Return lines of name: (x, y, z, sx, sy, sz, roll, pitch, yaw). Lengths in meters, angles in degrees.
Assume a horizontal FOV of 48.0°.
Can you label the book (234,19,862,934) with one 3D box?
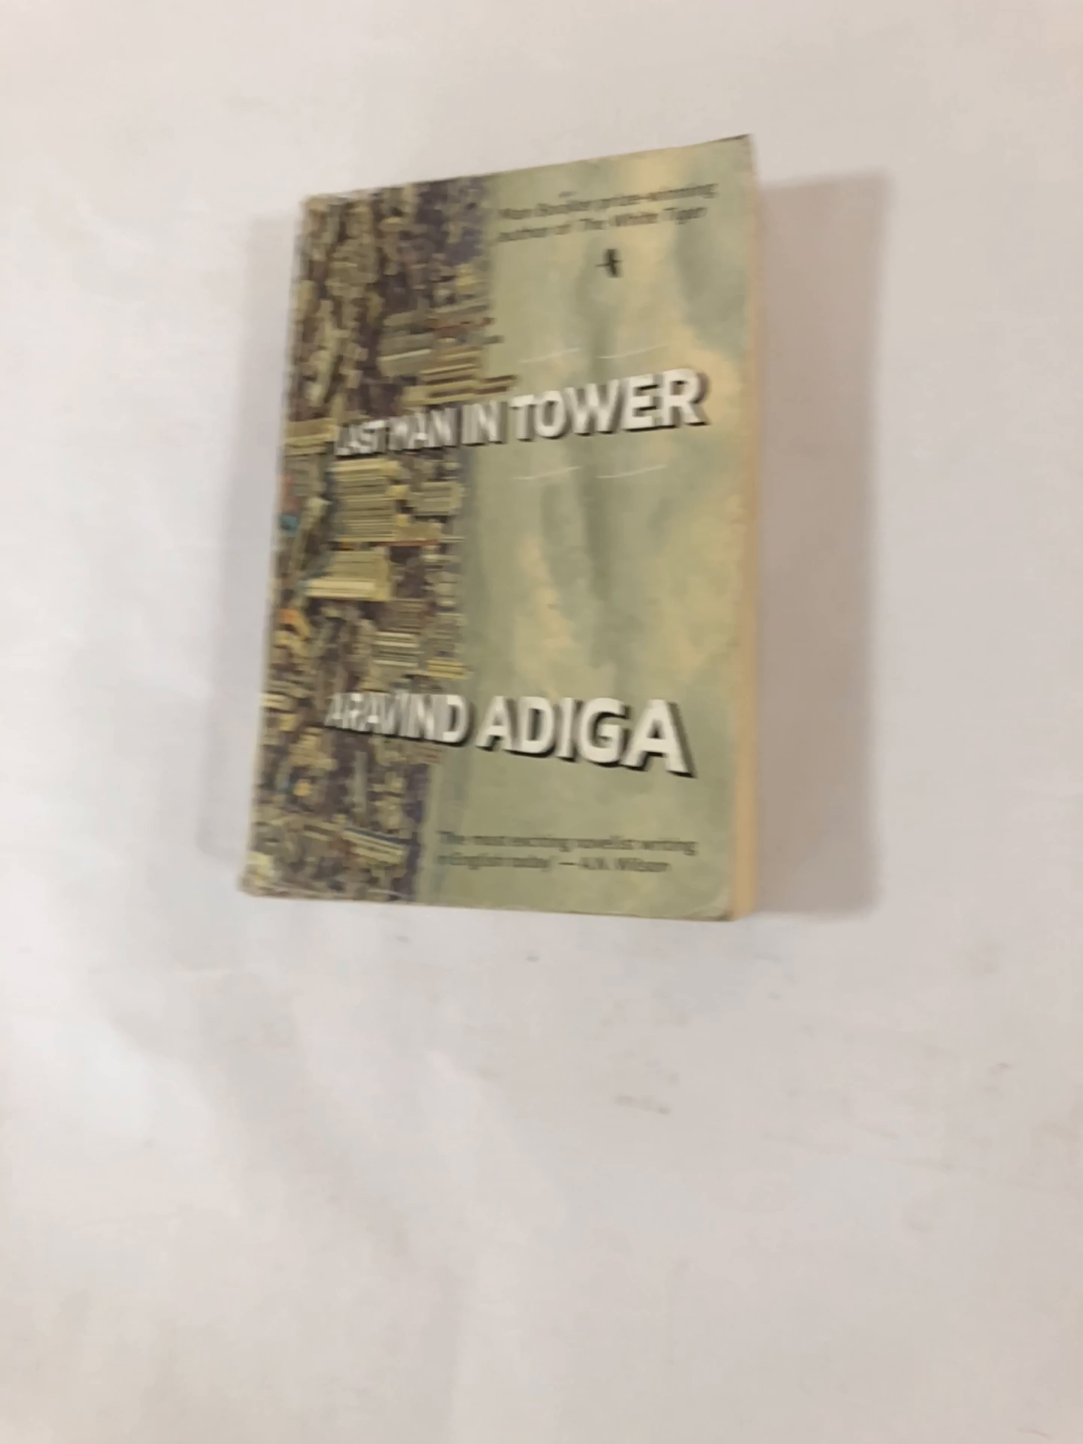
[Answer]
book: (0.004, -0.060, 0.314, 0.150, 0.030, 0.220, -1, 79, 18)
